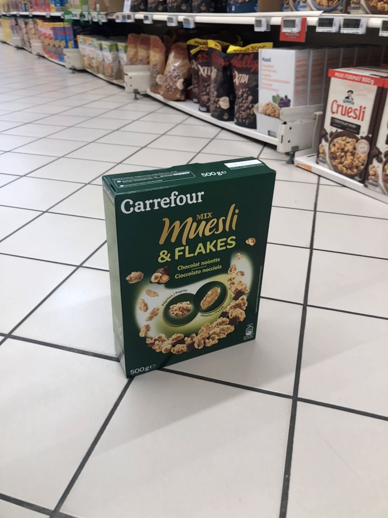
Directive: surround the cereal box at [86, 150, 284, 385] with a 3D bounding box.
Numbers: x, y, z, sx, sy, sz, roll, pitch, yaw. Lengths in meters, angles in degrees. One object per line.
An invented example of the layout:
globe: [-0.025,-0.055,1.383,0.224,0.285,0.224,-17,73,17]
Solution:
cereal box: [-0.013,0.009,0.527,0.201,0.249,0.080,-11,33,-21]
